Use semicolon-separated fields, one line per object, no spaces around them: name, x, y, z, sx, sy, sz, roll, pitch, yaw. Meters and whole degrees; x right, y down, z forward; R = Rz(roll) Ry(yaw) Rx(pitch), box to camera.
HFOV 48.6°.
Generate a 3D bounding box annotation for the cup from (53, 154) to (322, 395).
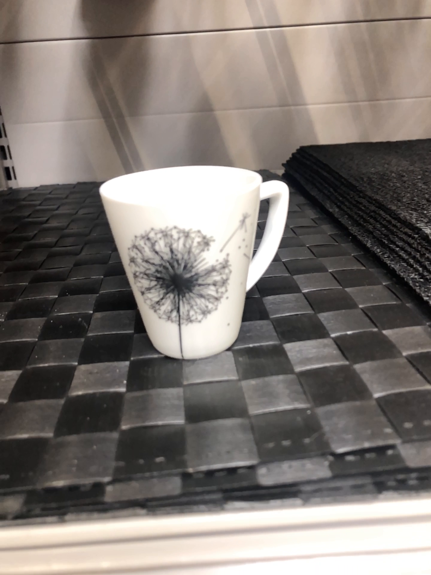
cup;-0.011;-0.012;0.189;0.081;0.060;0.056;-17;33;-28
